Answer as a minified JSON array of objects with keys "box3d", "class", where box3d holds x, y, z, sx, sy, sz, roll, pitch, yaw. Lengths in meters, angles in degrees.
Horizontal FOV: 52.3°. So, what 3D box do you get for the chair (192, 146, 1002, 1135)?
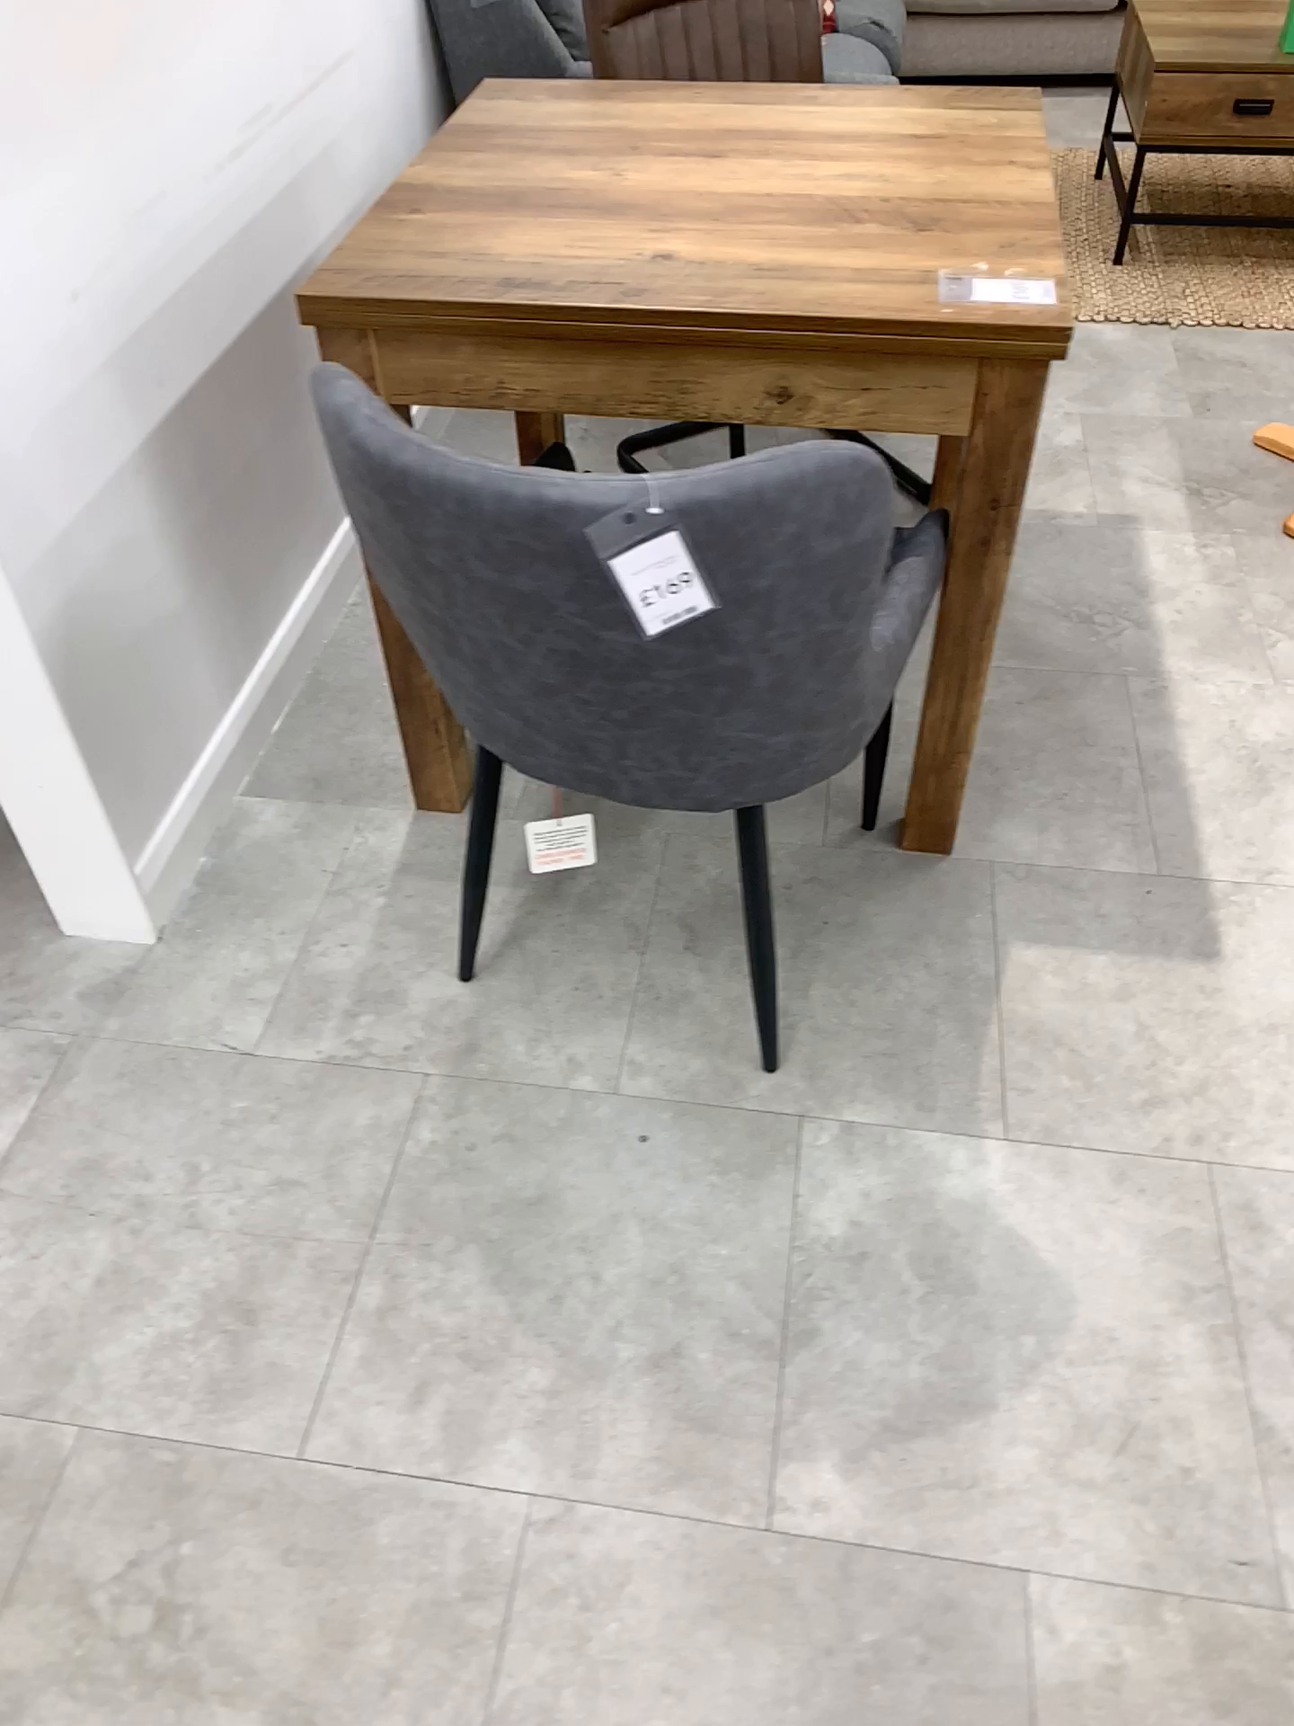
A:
[{"box3d":[0.008,-0.227,1.386,0.528,0.775,0.554,12,46,15],"class":"chair"}]
